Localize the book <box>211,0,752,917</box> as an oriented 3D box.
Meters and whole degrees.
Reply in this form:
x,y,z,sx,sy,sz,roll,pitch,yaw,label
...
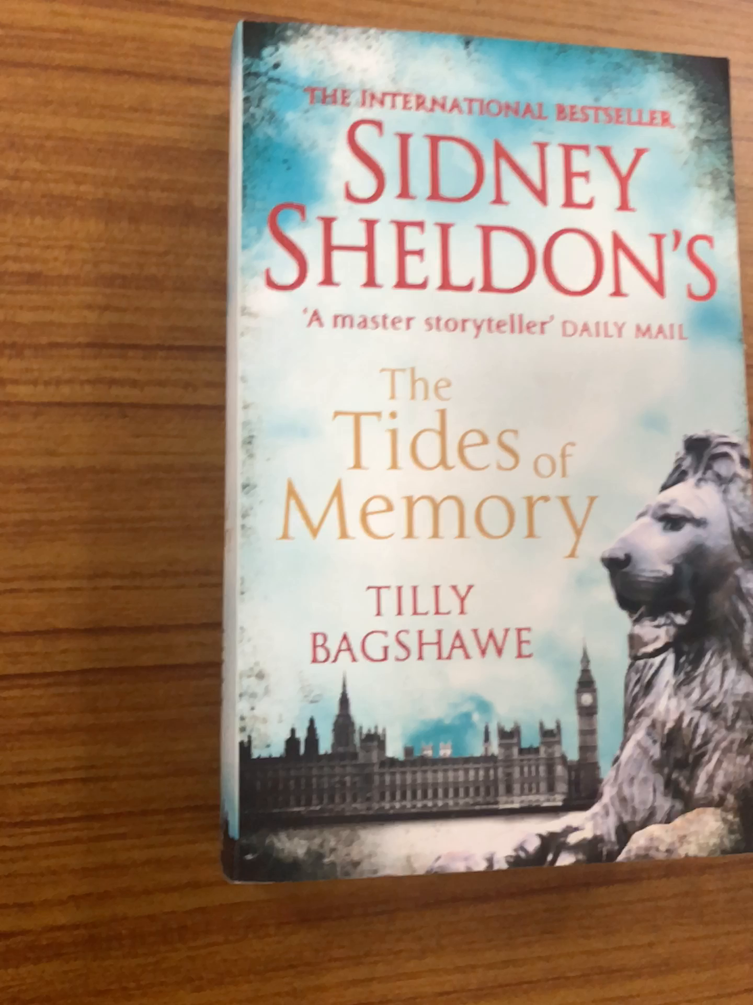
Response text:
x,y,z,sx,sy,sz,roll,pitch,yaw,label
0.030,-0.011,0.181,0.122,0.037,0.168,1,84,-8,book
